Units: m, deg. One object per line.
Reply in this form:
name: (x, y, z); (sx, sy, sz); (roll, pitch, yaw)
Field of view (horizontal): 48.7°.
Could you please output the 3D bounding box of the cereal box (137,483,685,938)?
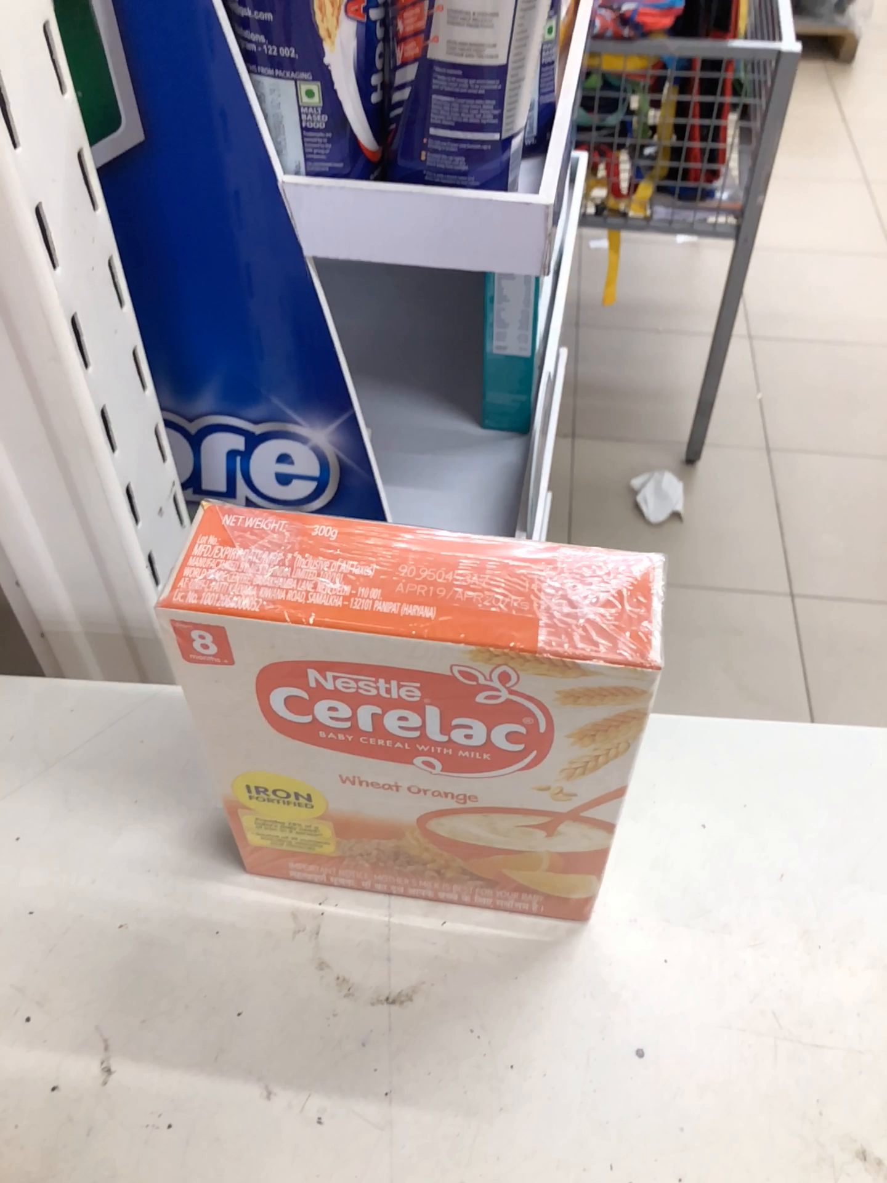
cereal box: (-0.008, 0.057, 0.374); (0.160, 0.199, 0.050); (7, 50, 6)
